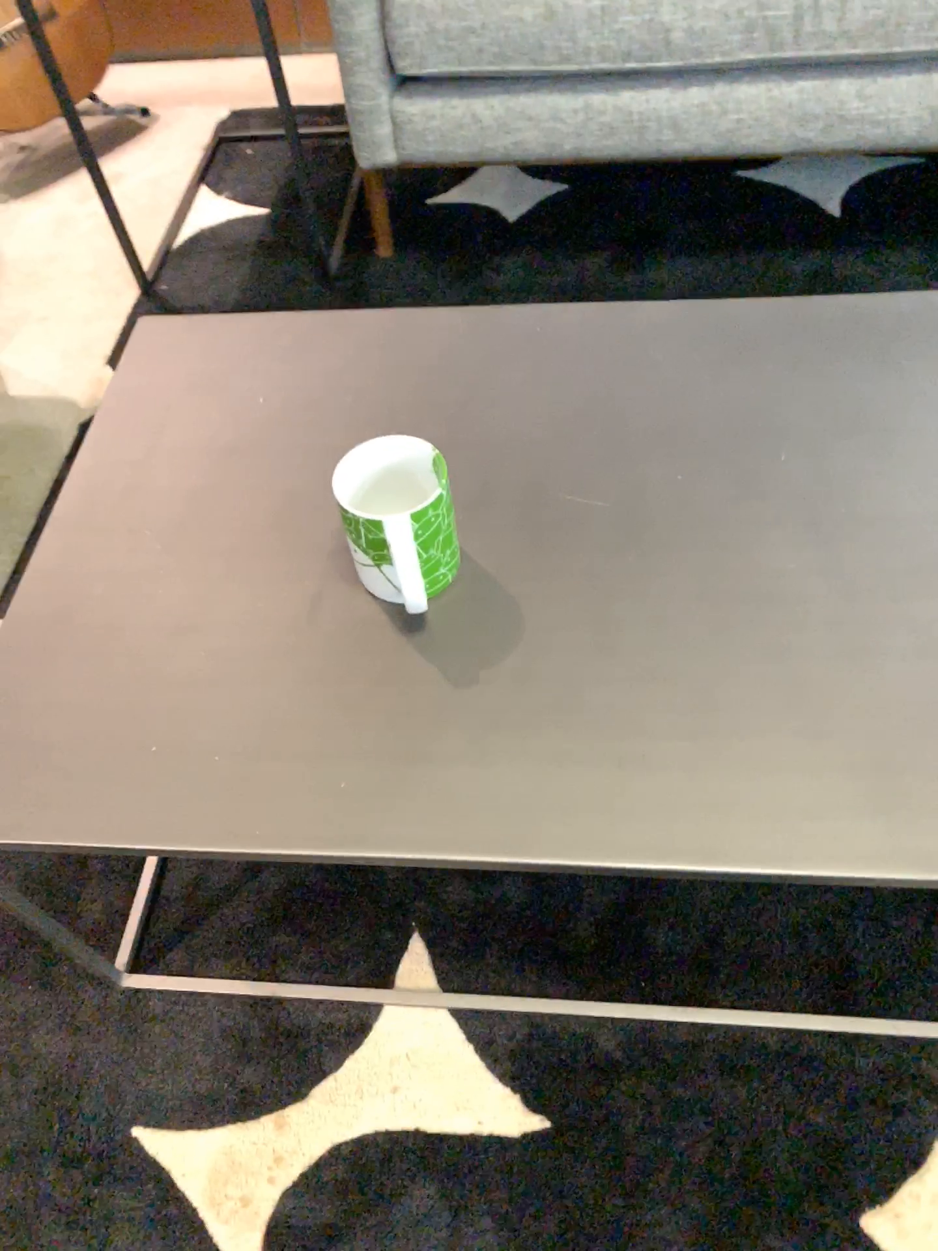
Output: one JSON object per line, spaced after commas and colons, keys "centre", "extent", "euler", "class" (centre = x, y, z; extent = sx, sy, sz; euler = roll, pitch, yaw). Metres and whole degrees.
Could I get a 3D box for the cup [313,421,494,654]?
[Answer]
{"centre": [-0.047, -0.064, 0.687], "extent": [0.100, 0.090, 0.120], "euler": [-13, 54, -2], "class": "cup"}
